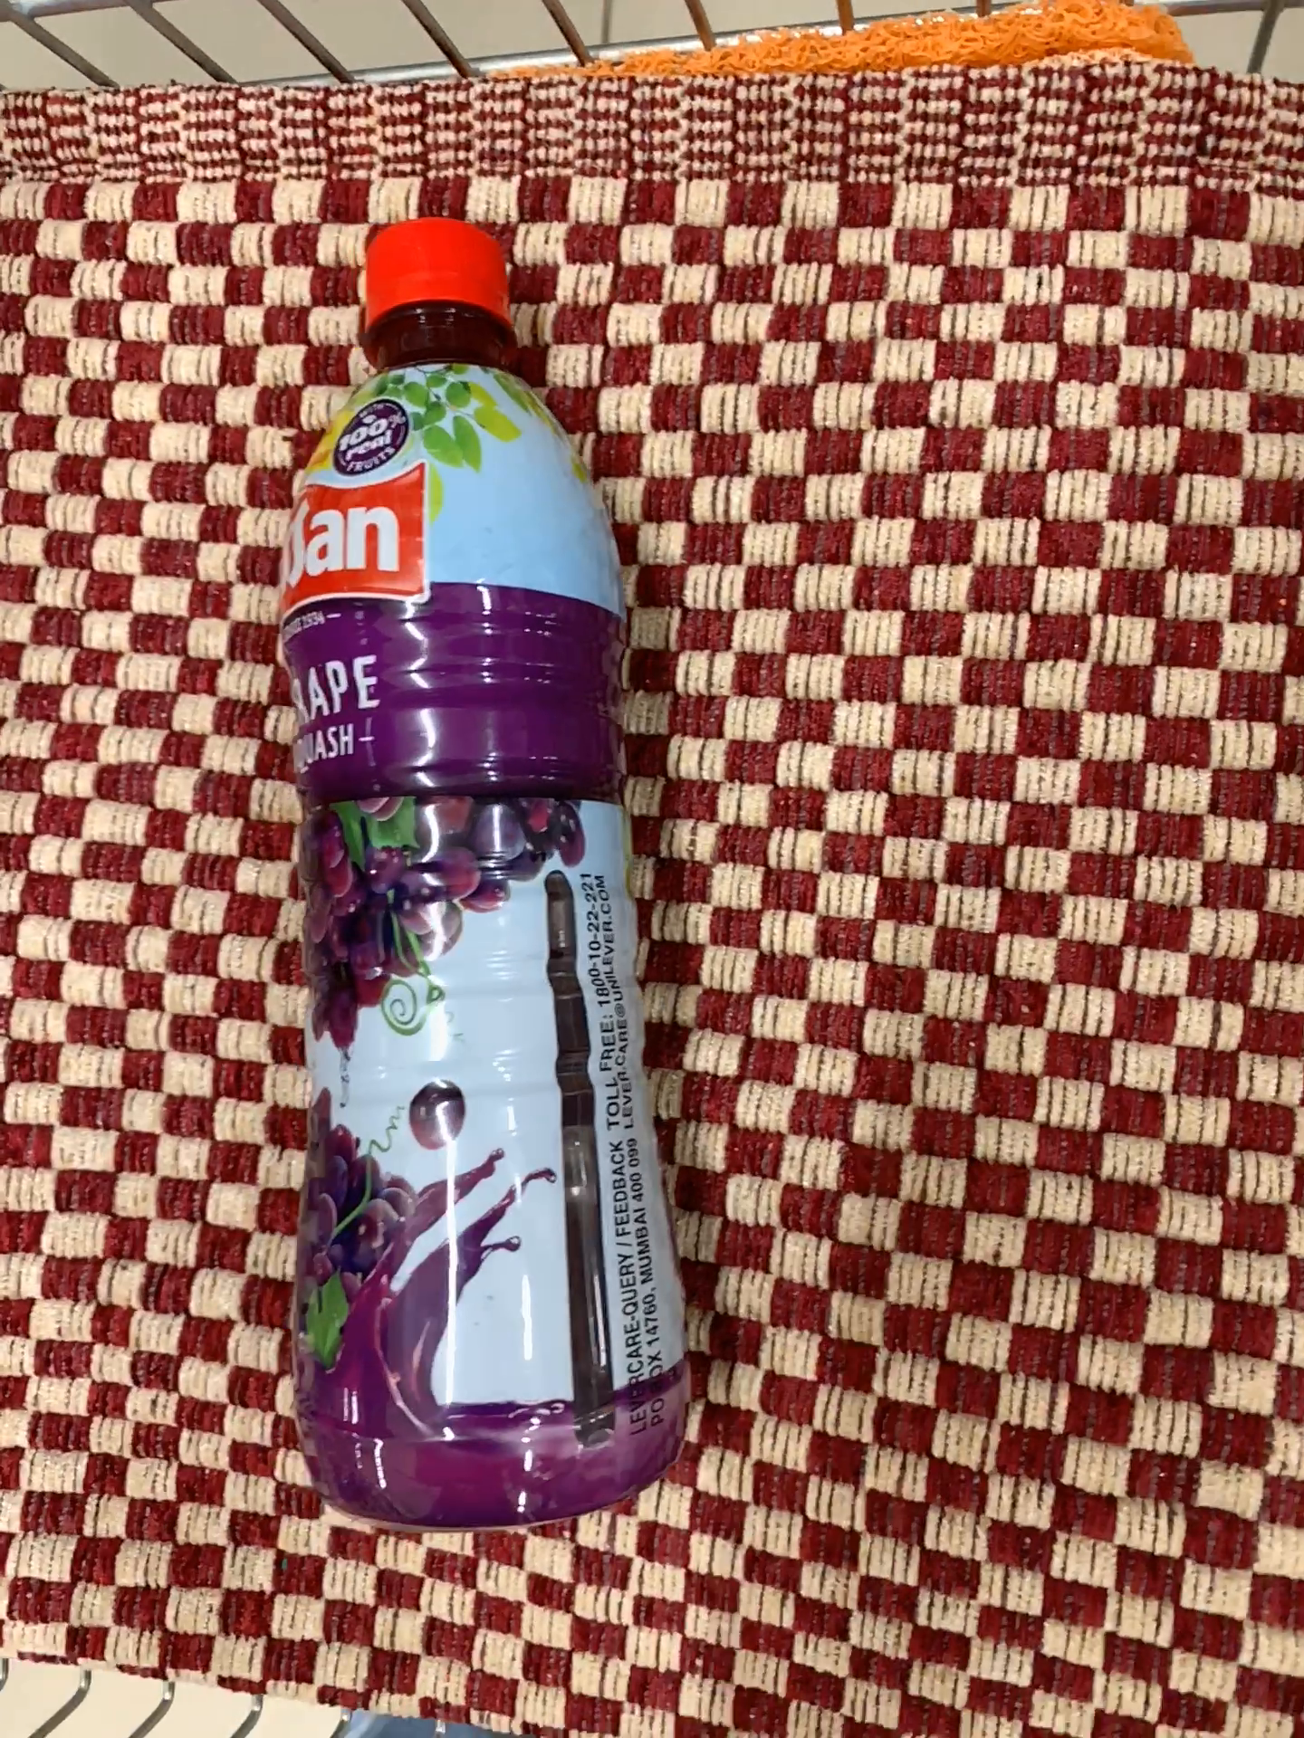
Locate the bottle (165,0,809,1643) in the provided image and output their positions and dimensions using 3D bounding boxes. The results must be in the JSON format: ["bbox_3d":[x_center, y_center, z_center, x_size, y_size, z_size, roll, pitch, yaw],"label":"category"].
[{"bbox_3d":[-0.034,-0.012,0.245,0.080,0.080,0.240,-8,83,53],"label":"bottle"}]
